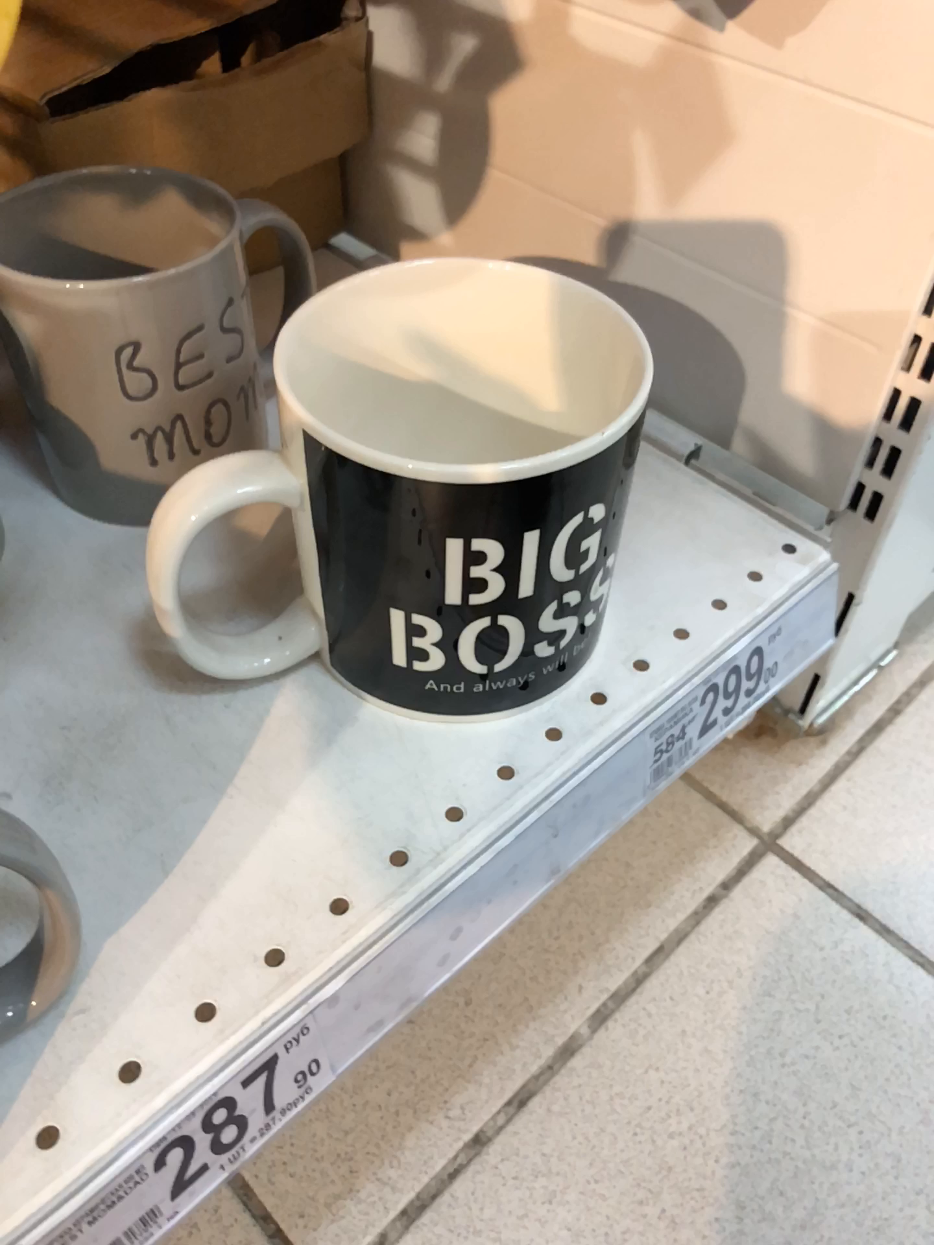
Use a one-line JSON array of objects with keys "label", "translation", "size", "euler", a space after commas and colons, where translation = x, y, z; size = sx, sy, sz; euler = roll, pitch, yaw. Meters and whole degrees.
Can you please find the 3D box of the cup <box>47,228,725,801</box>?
[{"label": "cup", "translation": [-0.034, -0.044, 0.372], "size": [0.189, 0.122, 0.128], "euler": [-11, 48, -13]}]
